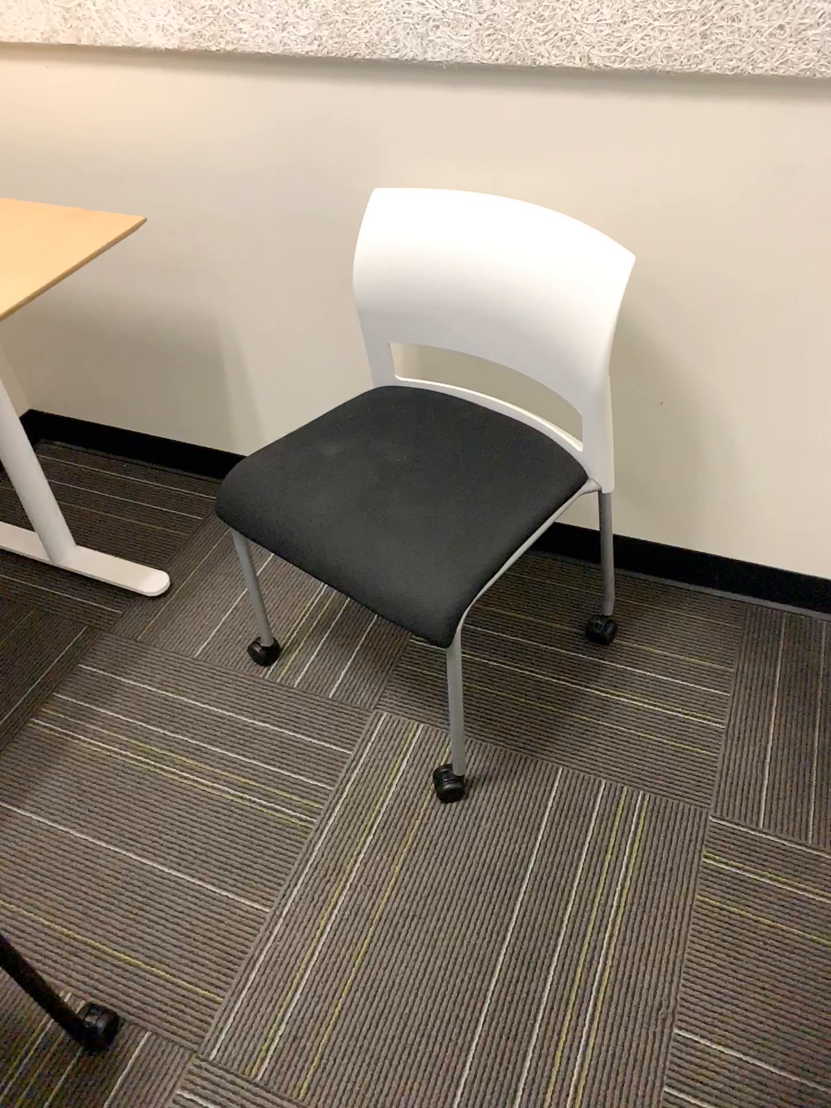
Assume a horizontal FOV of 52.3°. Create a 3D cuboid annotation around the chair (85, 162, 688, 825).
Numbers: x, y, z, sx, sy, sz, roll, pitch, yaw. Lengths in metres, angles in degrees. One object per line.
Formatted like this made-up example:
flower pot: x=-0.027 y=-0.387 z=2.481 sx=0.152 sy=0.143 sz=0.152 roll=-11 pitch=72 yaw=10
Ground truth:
chair: x=-0.013 y=-0.111 z=1.360 sx=0.582 sy=0.736 sz=0.541 roll=27 pitch=53 yaw=30
